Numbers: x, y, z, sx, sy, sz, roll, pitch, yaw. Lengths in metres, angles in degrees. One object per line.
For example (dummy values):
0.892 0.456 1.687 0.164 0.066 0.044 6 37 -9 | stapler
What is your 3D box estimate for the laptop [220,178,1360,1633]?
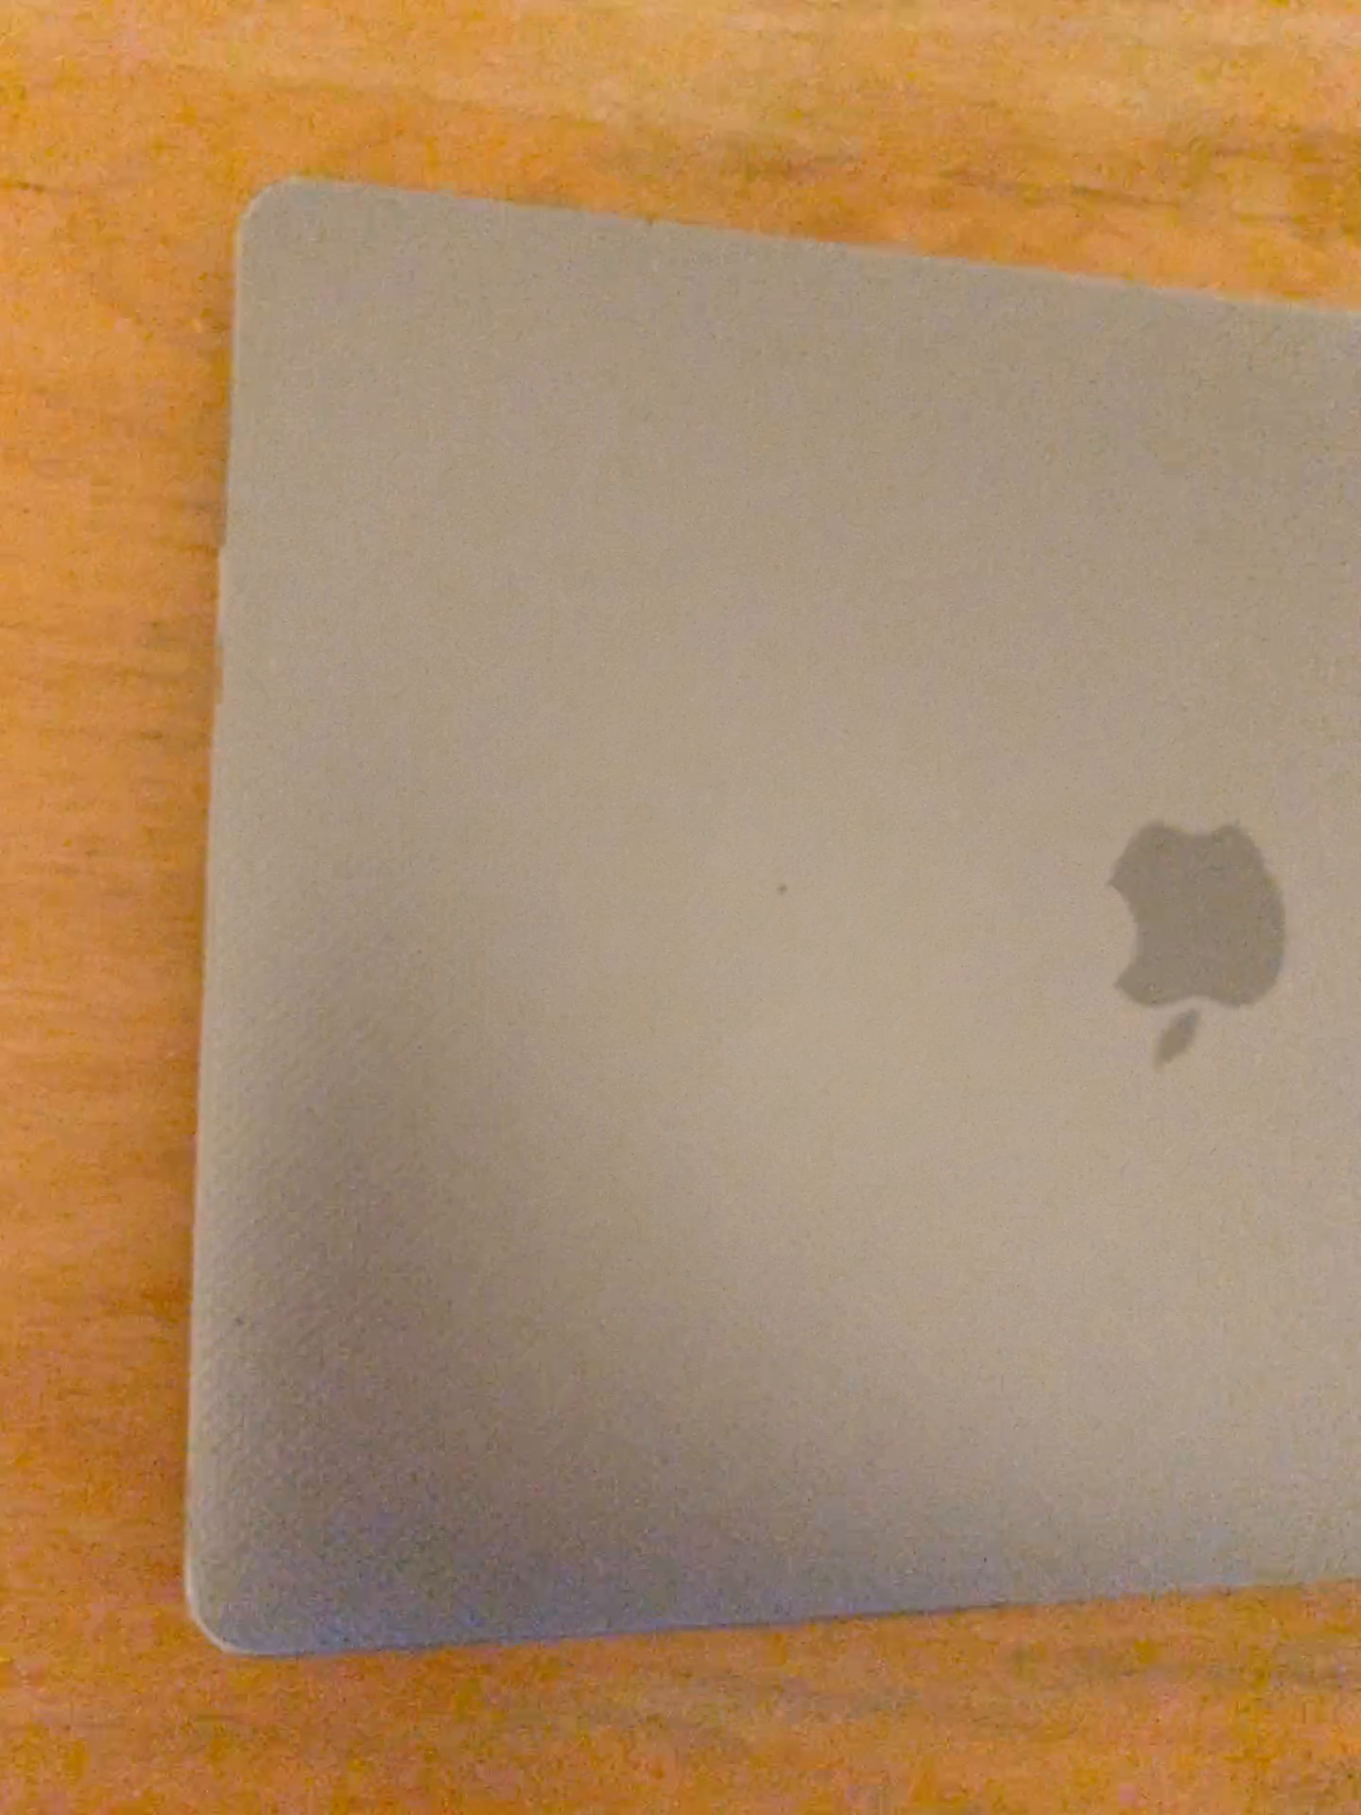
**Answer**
0.080 0.003 0.235 0.292 0.005 0.210 2 86 -10 | laptop
